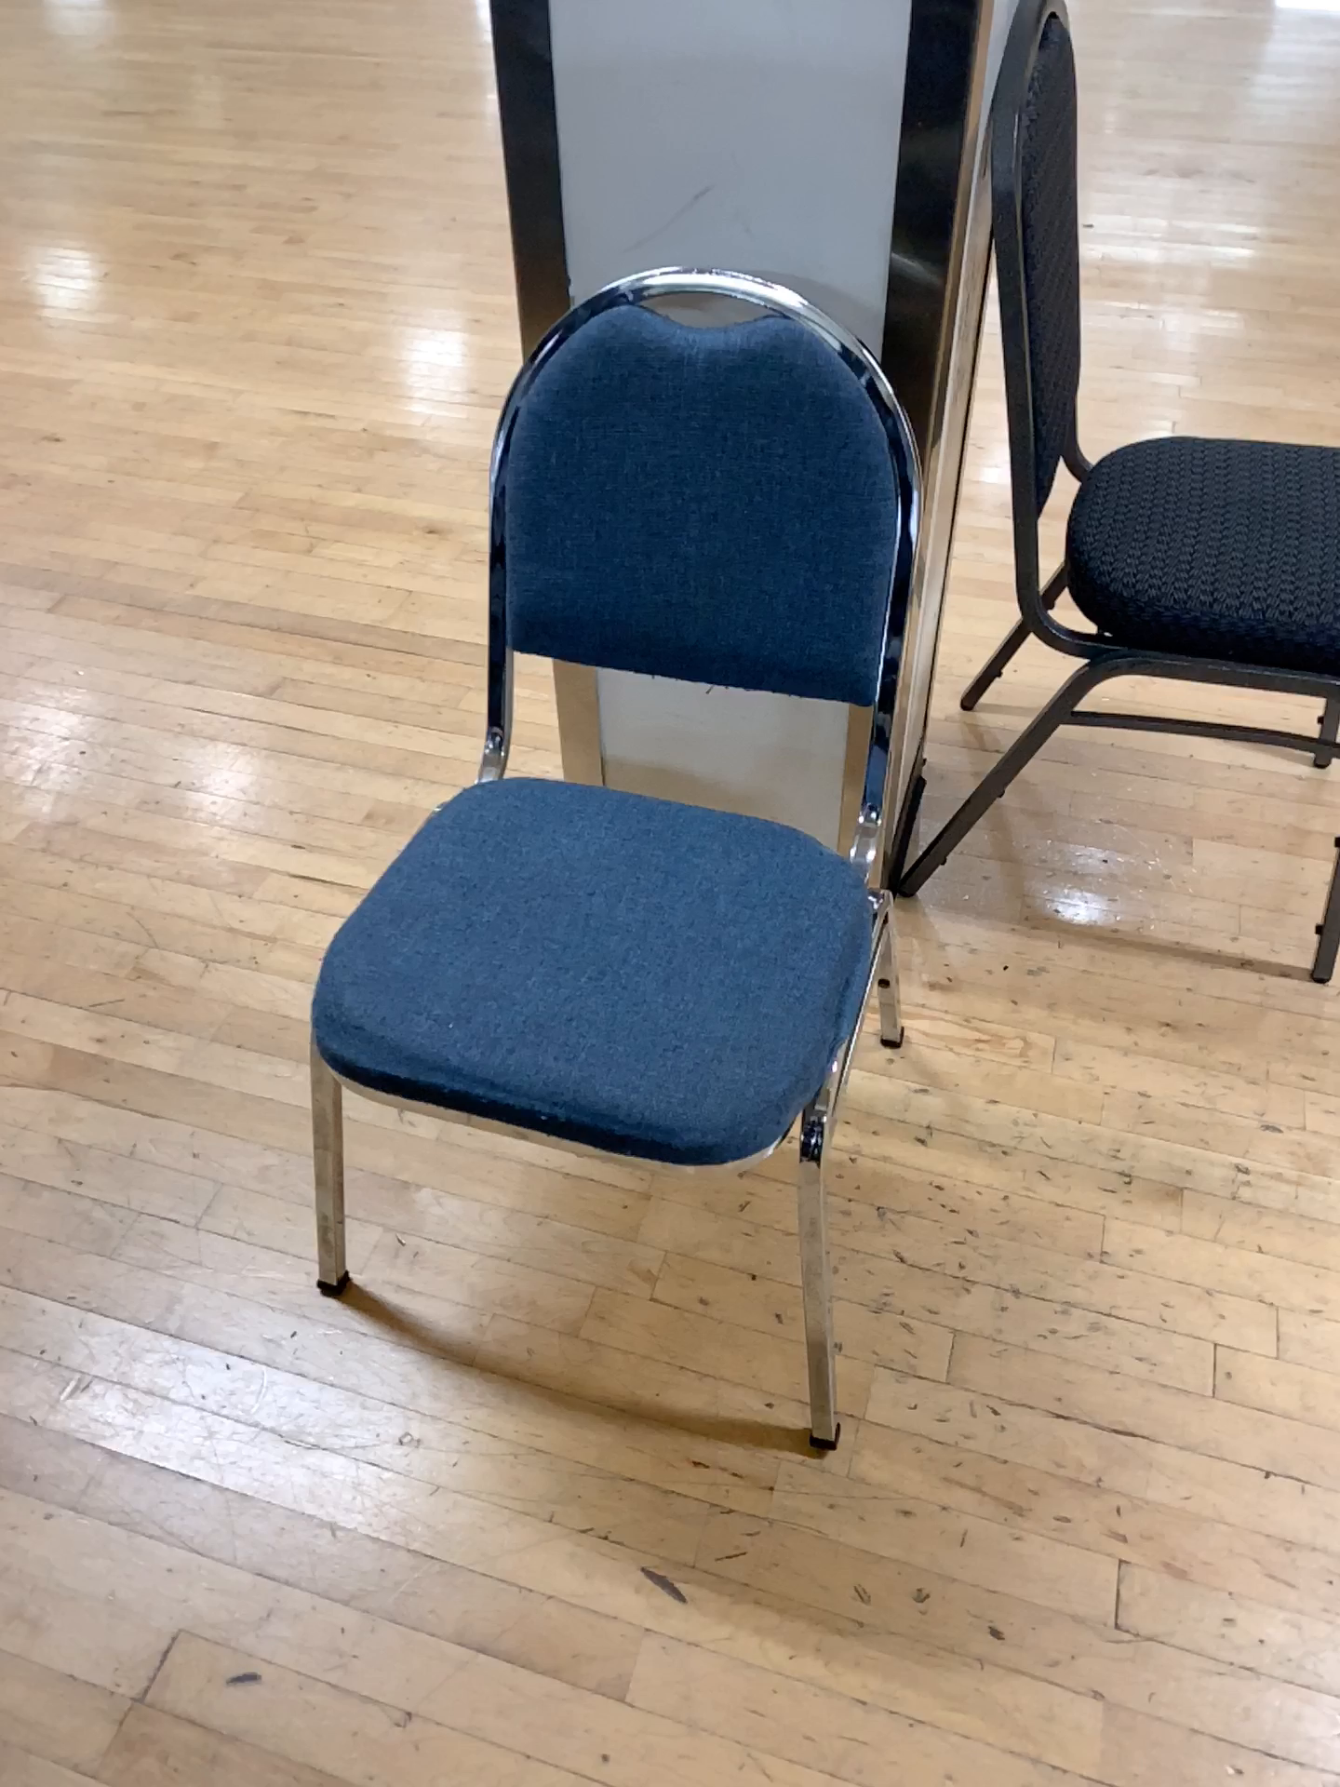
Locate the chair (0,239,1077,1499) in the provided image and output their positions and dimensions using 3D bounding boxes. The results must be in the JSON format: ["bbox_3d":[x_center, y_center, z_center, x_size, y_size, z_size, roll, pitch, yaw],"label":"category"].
[{"bbox_3d":[-0.030,0.002,1.207,0.548,0.888,0.555,12,46,14],"label":"chair"}]
